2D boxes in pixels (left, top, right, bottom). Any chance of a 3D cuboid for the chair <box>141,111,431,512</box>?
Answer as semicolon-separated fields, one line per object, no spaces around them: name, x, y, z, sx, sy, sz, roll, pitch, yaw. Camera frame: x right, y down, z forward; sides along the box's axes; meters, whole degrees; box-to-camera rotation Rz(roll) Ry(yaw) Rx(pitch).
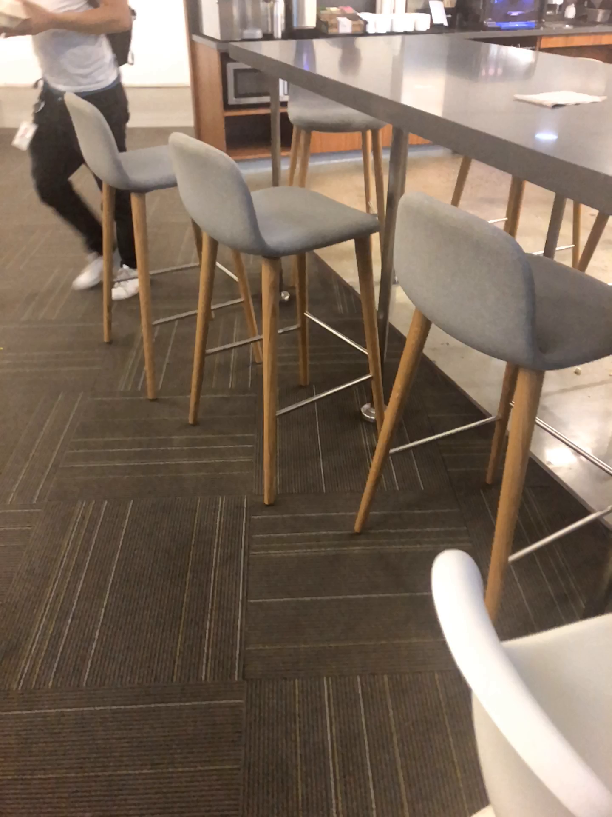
chair;-0.068;-0.312;2.008;0.542;0.942;0.573;-19;37;-27

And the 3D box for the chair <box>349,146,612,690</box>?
chair;0.487;0.010;1.569;0.542;1.031;0.543;-16;36;-23

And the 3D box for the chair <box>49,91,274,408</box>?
chair;-0.509;-0.611;2.505;0.542;0.942;0.573;-19;37;-27
